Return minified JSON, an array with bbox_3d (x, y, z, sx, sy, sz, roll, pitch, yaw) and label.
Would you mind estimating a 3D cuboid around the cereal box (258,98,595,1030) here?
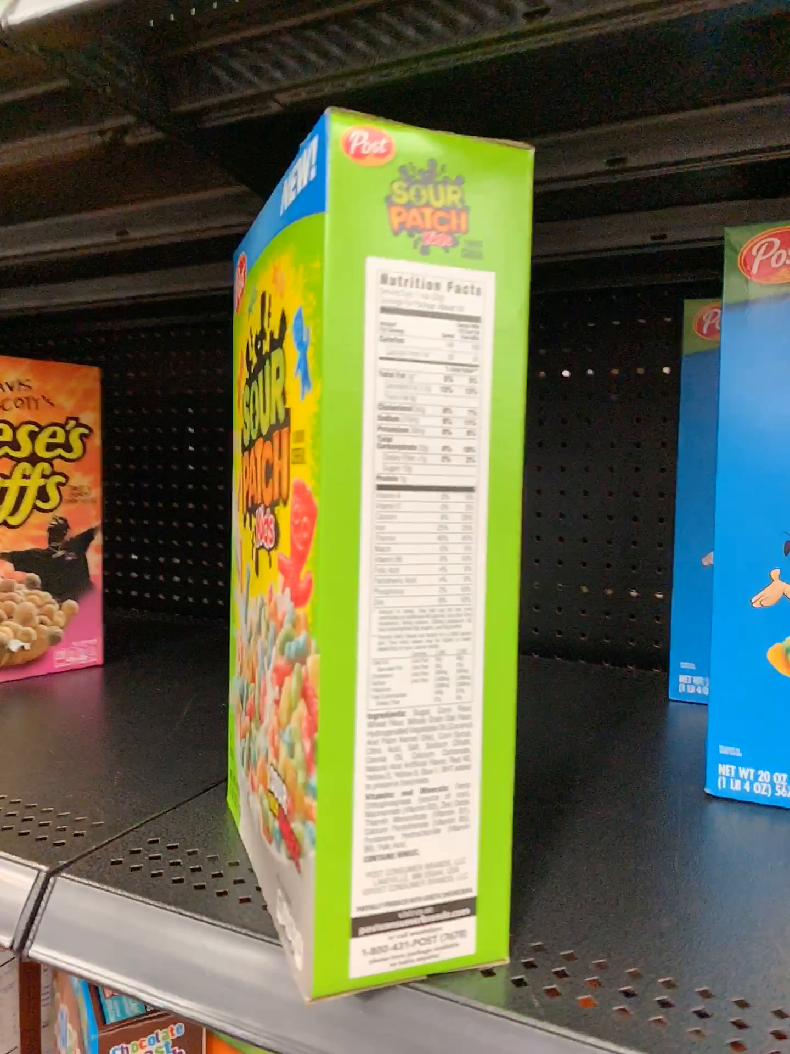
[{"bbox_3d":[-0.004,0.010,0.376,0.080,0.310,0.200,0,3,-20],"label":"cereal box"}]
